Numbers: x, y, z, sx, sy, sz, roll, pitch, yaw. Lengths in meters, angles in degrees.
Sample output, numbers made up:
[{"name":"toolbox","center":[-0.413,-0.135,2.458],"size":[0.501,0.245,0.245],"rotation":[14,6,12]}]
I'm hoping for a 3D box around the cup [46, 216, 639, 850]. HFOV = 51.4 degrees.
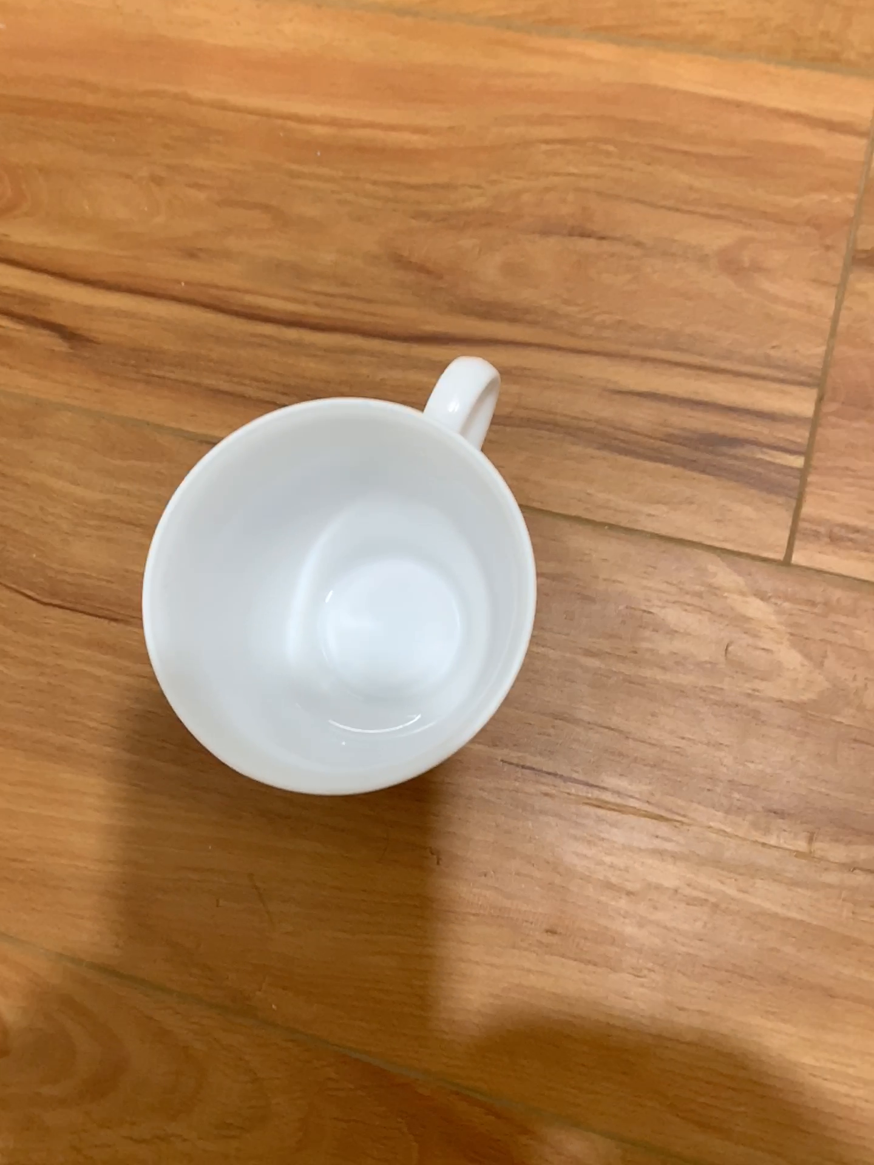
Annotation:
[{"name":"cup","center":[-0.014,-0.009,0.204],"size":[0.083,0.063,0.103],"rotation":[19,82,10]}]
